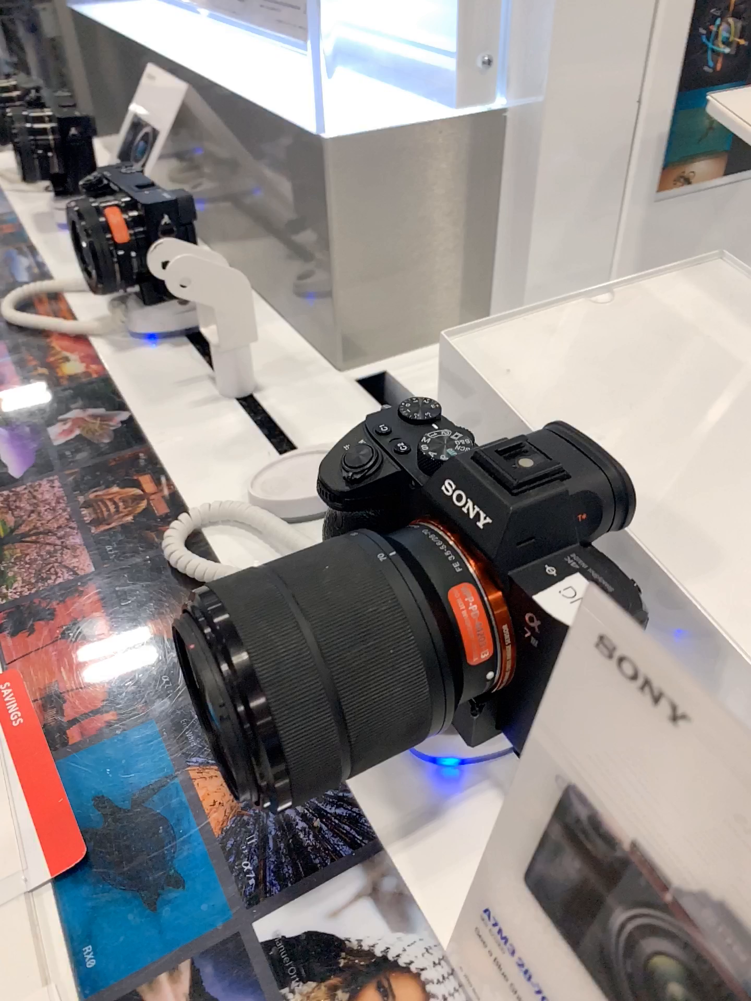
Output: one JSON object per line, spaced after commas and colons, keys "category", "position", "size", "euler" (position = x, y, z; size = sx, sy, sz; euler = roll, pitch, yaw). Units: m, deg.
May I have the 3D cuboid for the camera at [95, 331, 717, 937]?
{"category": "camera", "position": [0.006, 0.031, 0.261], "size": [0.140, 0.100, 0.119], "euler": [-23, 44, -23]}
